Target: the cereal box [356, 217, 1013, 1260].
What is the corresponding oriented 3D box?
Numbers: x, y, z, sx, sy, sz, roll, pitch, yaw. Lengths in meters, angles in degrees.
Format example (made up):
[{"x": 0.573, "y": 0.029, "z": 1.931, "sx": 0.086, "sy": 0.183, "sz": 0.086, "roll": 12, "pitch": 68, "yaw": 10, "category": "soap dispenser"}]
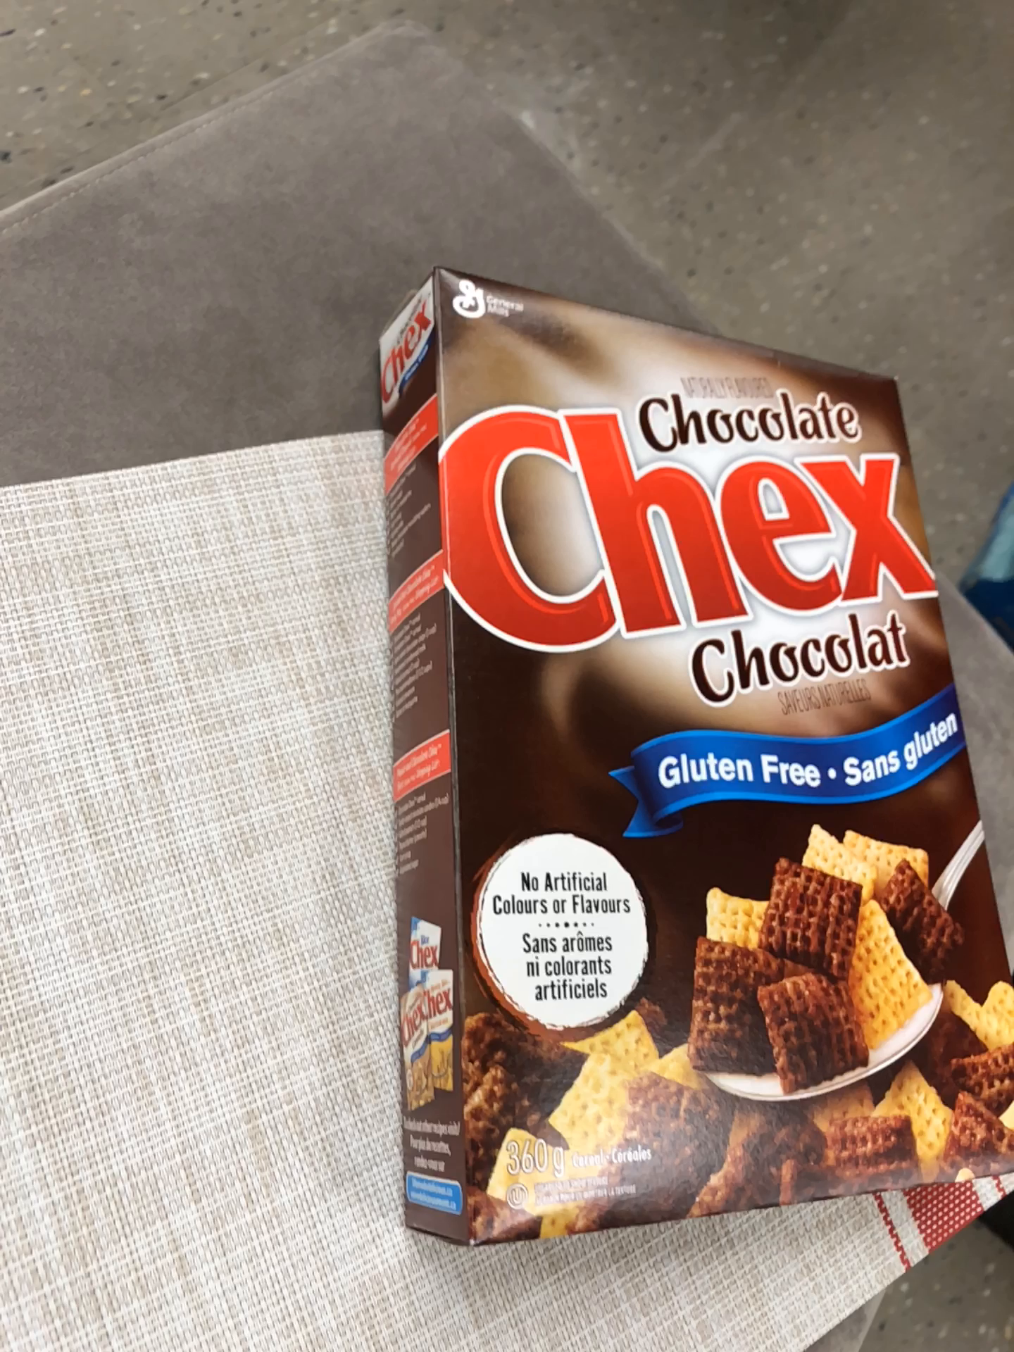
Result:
[{"x": 0.062, "y": 0.012, "z": 0.368, "sx": 0.211, "sy": 0.050, "sz": 0.290, "roll": 5, "pitch": 70, "yaw": -24, "category": "cereal box"}]
